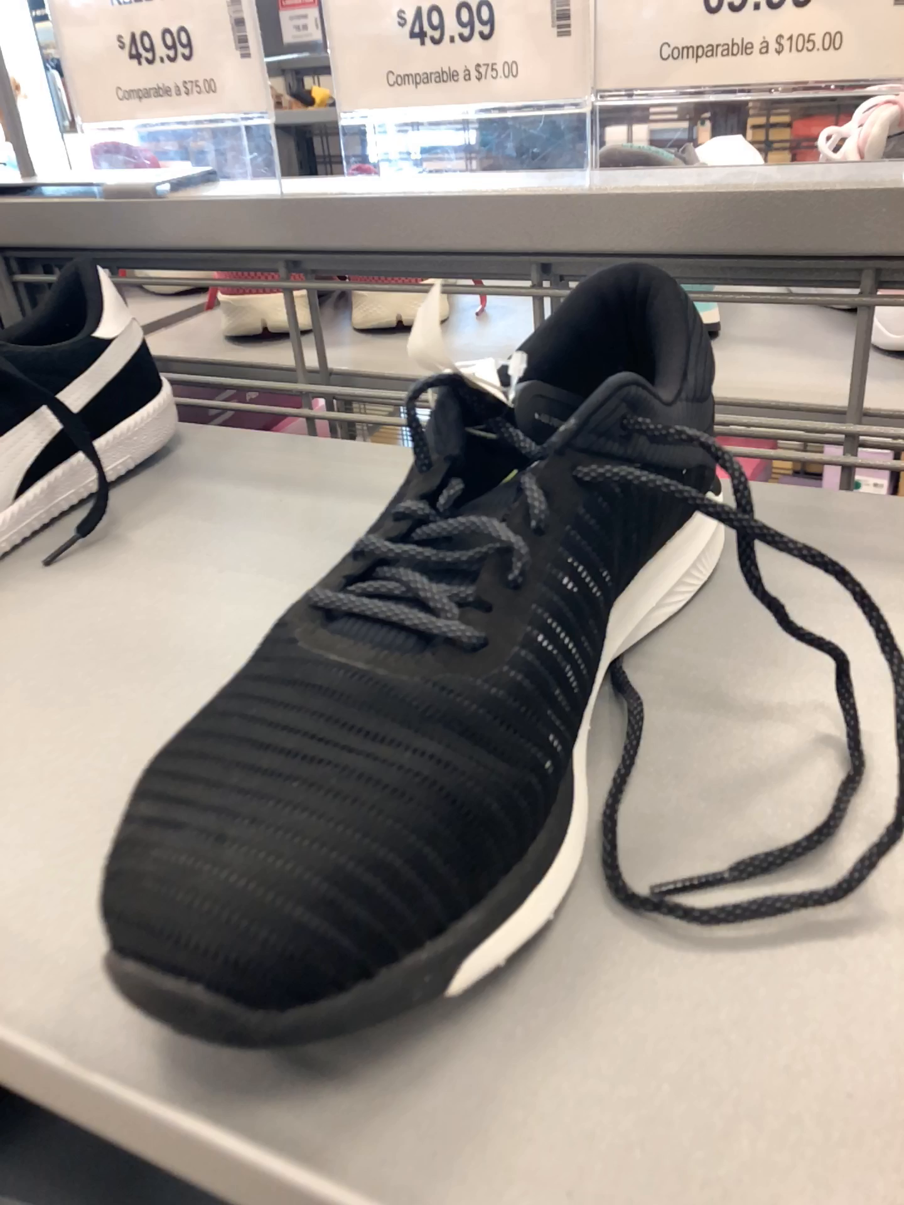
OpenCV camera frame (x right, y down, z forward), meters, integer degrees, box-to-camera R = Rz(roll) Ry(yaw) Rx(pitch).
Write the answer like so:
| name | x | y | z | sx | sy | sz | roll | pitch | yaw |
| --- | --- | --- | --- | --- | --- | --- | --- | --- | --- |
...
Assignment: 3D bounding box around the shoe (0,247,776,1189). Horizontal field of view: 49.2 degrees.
| name | x | y | z | sx | sy | sz | roll | pitch | yaw |
| --- | --- | --- | --- | --- | --- | --- | --- | --- | --- |
| shoe | 0.006 | -0.016 | 0.309 | 0.120 | 0.119 | 0.302 | 10 | 33 | 25 |
